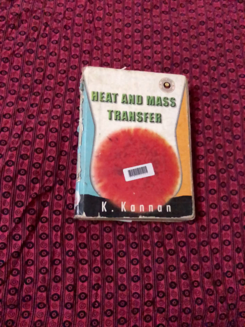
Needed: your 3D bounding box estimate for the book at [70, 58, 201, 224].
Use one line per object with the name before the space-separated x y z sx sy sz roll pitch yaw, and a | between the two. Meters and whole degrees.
book | 0.021 -0.035 0.431 0.185 0.040 0.249 3 75 -8
